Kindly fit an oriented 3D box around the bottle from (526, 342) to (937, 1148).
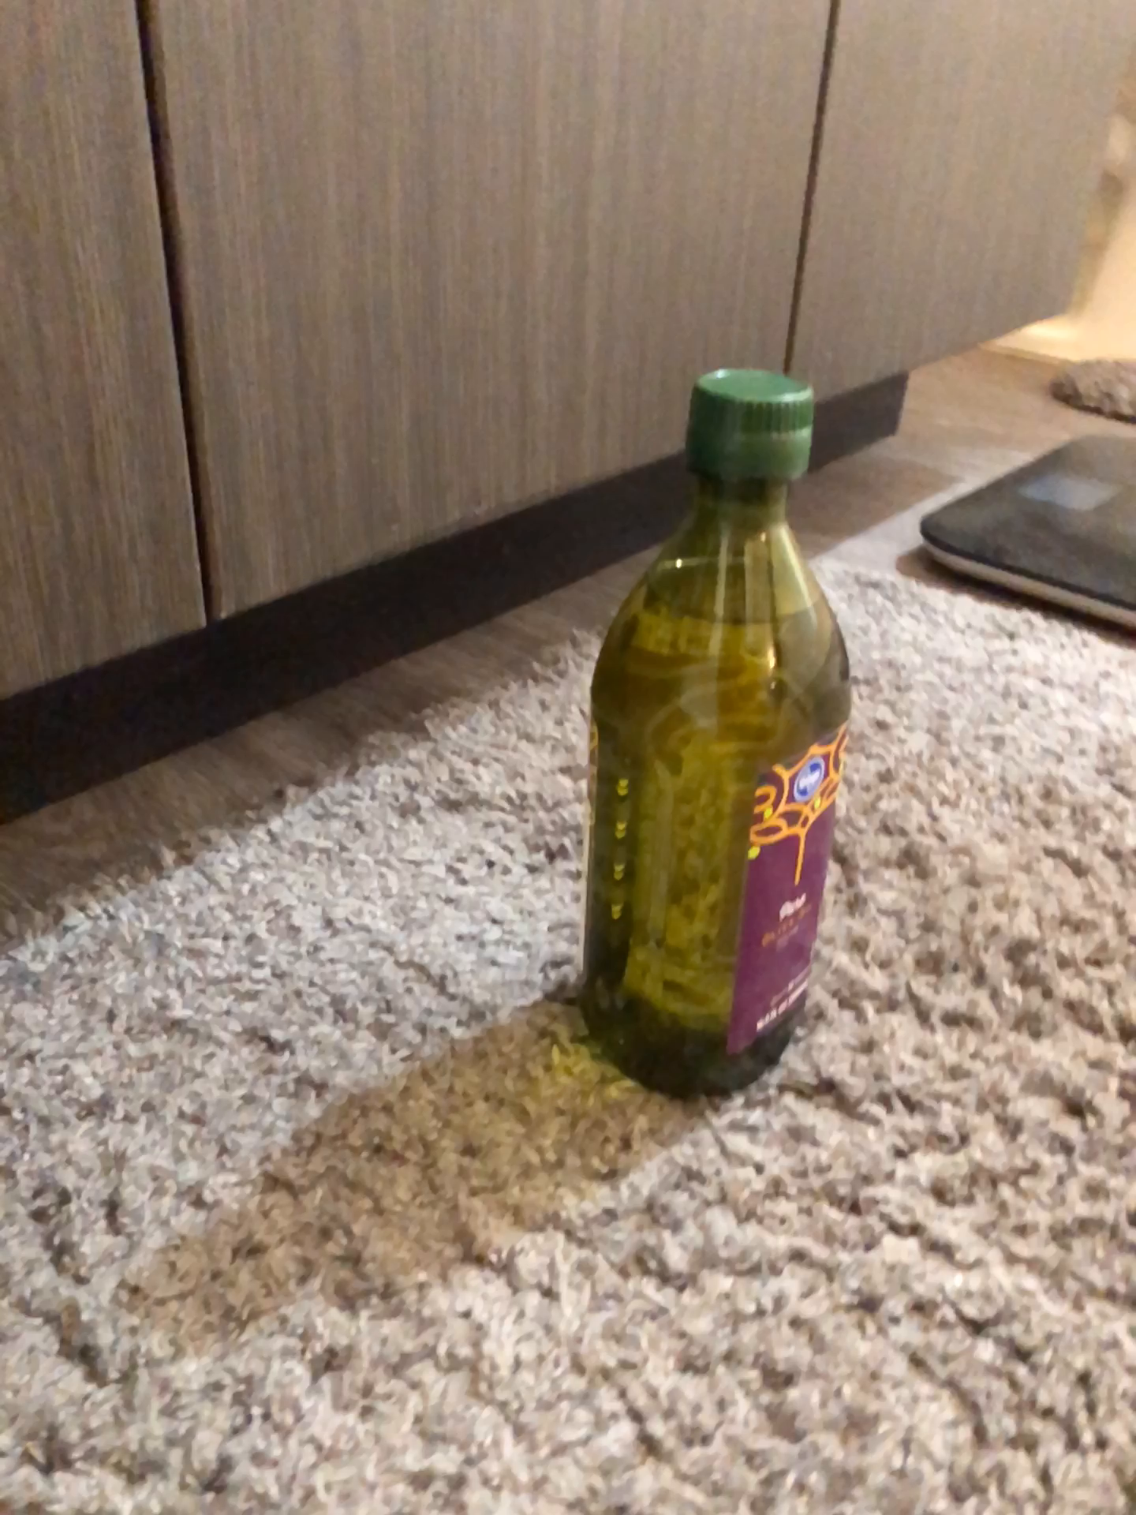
[{"bbox_3d":[0.037,0.001,0.354,0.070,0.209,0.060,-23,39,-36],"label":"bottle"}]
